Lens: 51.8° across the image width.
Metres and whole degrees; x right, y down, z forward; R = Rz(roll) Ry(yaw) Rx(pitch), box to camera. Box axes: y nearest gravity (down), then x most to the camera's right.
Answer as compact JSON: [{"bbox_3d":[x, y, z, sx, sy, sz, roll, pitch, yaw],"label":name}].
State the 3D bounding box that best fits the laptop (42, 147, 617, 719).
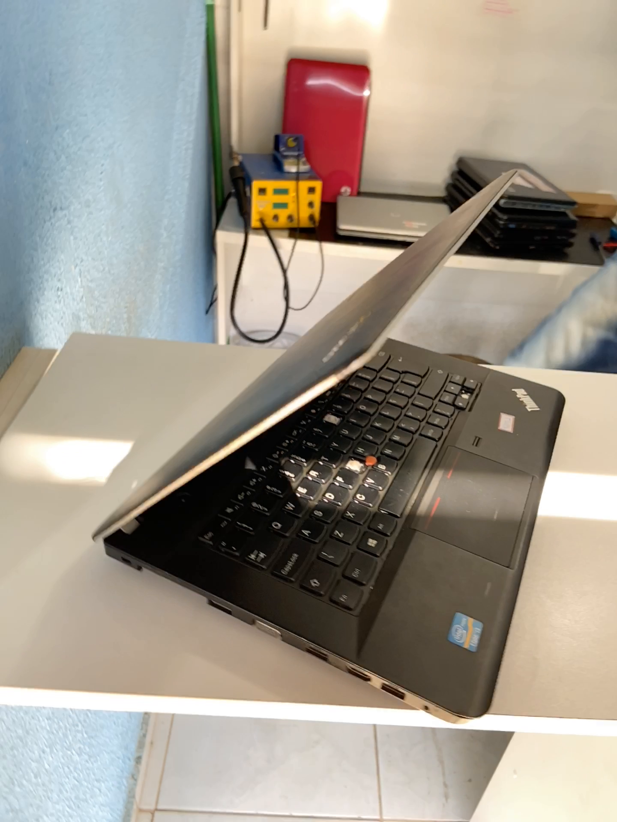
[{"bbox_3d":[0.048,-0.037,0.424,0.230,0.165,0.332,19,37,18],"label":"laptop"}]
